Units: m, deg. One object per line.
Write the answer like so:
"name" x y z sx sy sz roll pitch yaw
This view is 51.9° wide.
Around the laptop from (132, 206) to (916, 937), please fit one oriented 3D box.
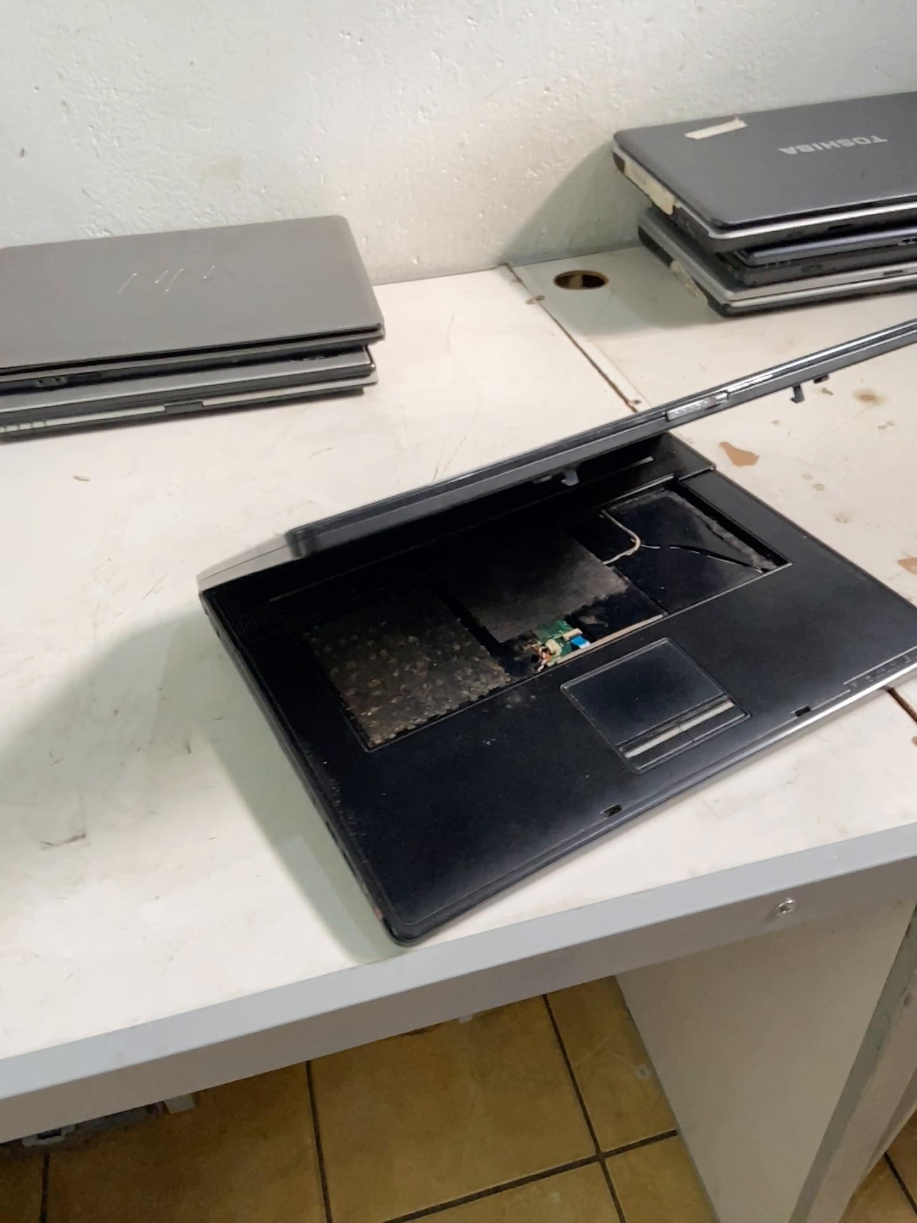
"laptop" 0.058 -0.059 0.497 0.349 0.164 0.261 -22 45 -21
